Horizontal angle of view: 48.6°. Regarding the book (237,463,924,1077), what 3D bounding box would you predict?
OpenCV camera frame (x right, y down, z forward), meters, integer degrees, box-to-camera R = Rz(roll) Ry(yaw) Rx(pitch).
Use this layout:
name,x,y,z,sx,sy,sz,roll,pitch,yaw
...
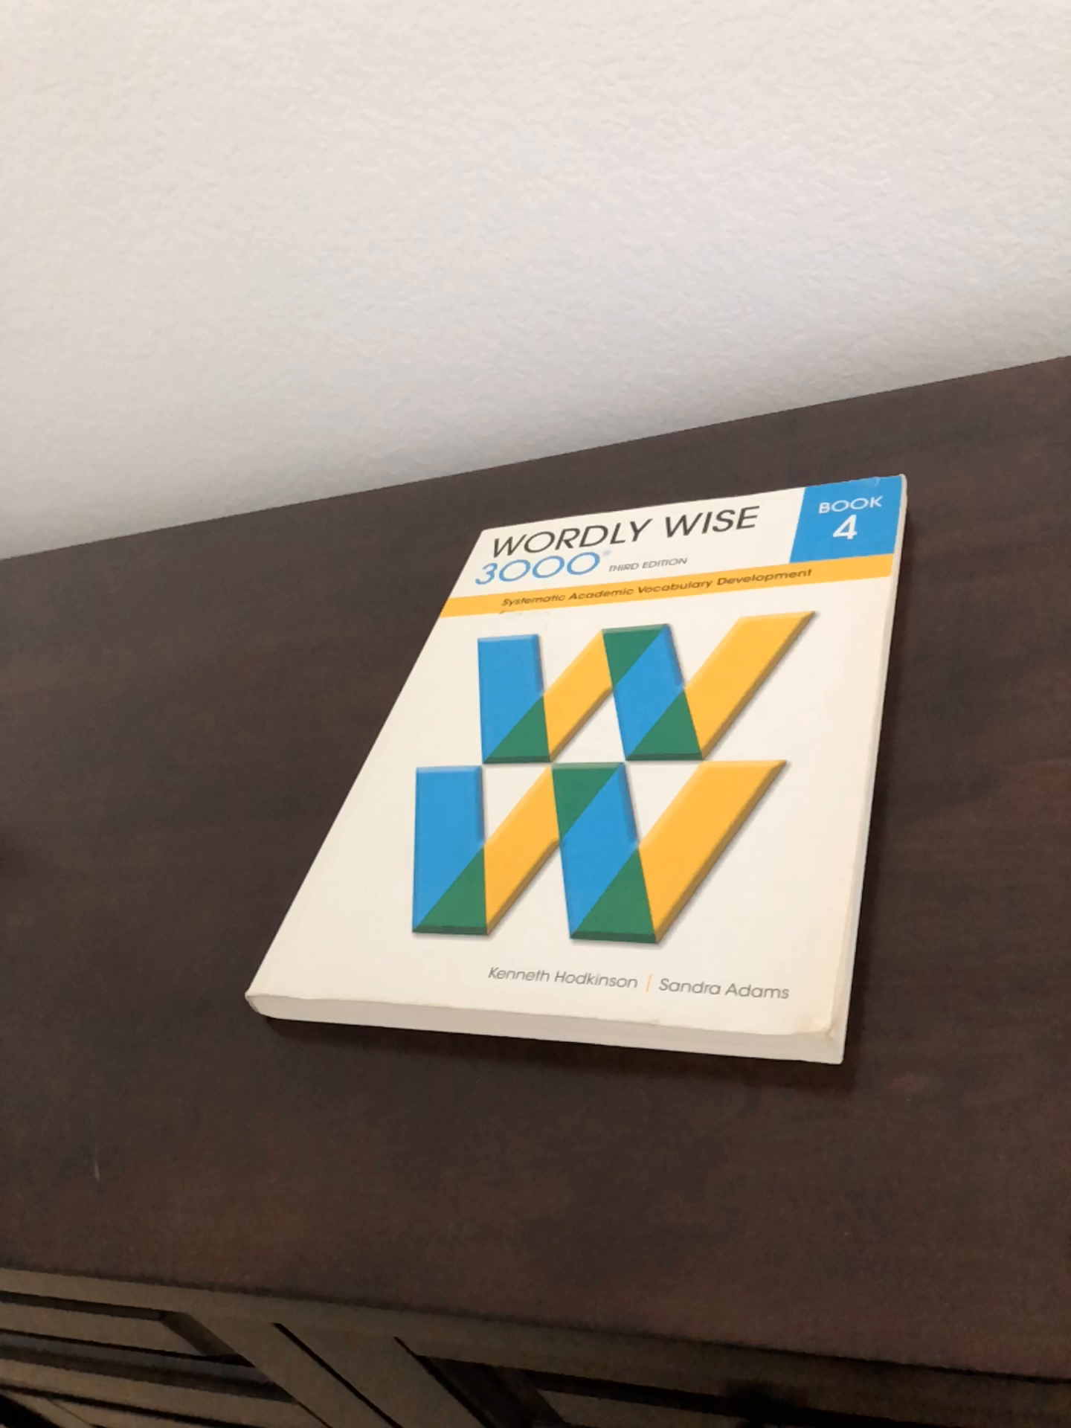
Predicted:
name,x,y,z,sx,sy,sz,roll,pitch,yaw
book,0.031,0.003,0.472,0.217,0.020,0.275,-3,45,26
